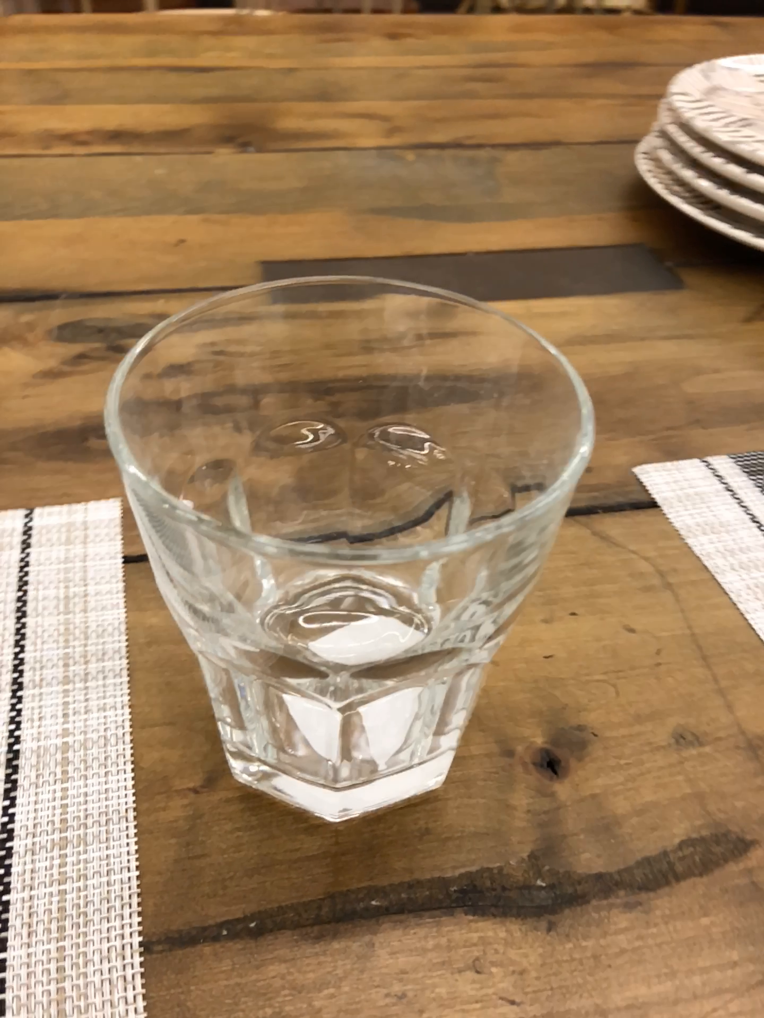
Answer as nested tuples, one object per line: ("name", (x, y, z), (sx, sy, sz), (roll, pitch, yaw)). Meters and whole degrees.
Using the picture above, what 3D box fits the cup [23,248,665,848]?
("cup", (-0.006, 0.006, 0.176), (0.087, 0.081, 0.090), (2, 41, -2))
